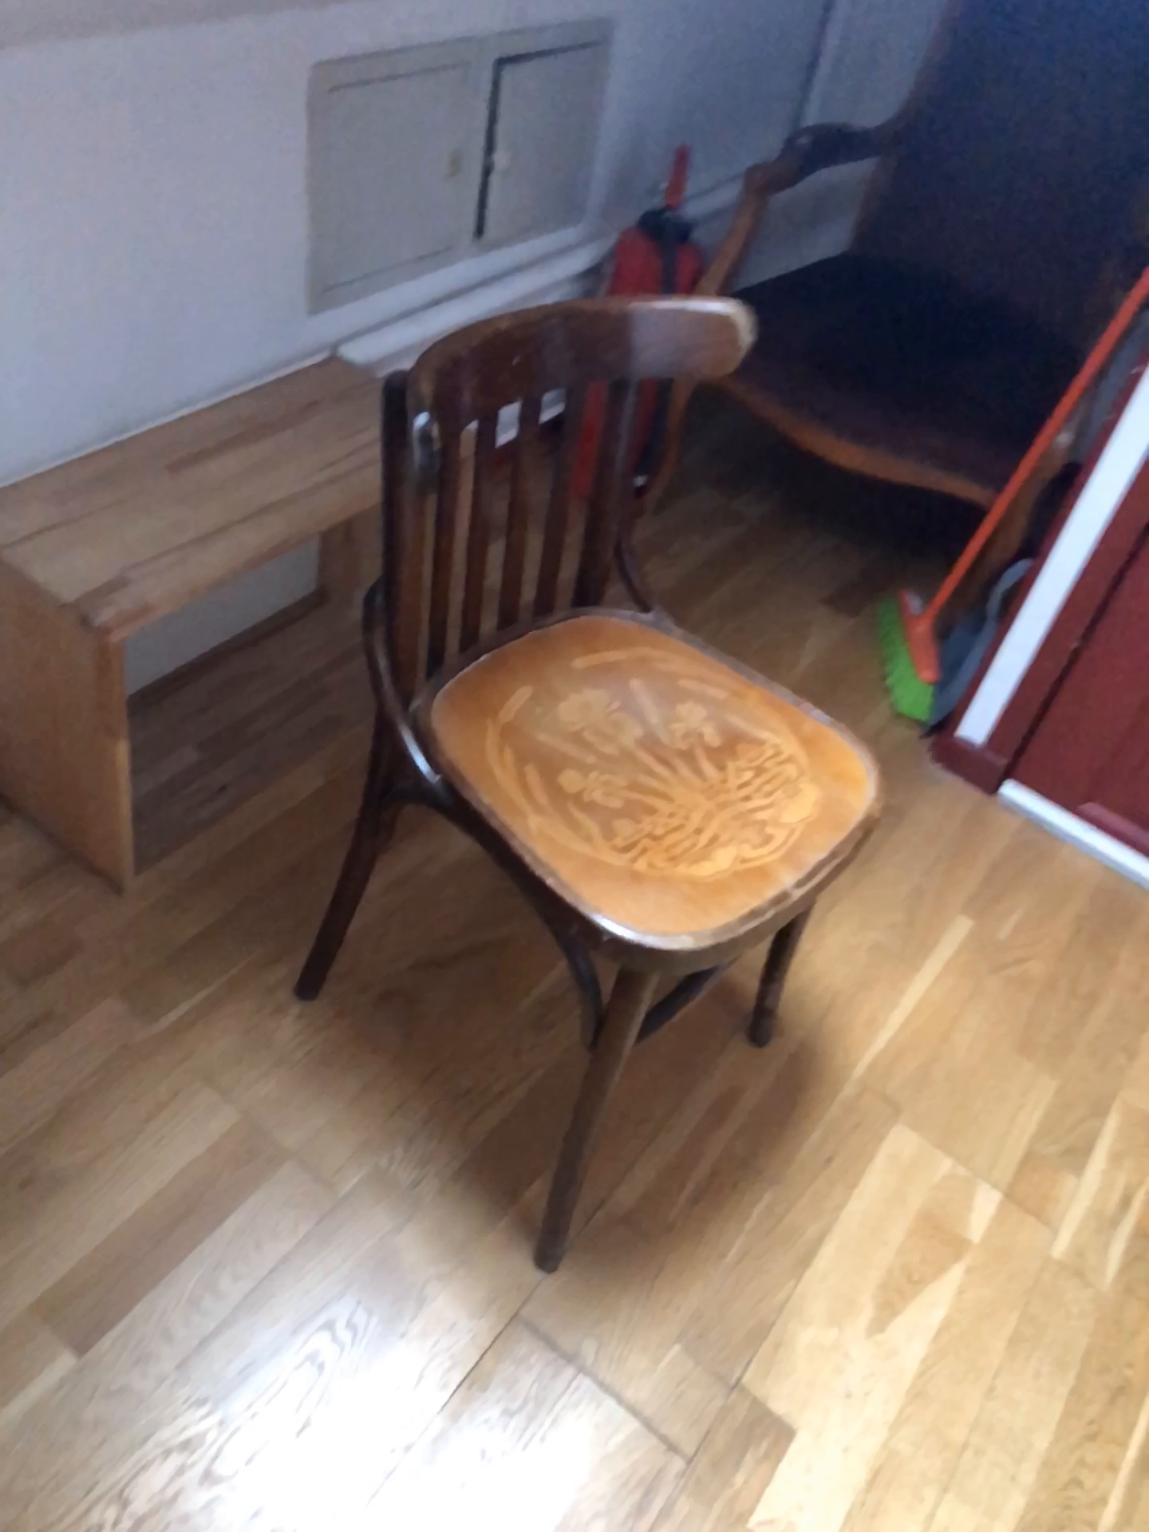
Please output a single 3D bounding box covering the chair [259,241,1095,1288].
[{"bbox_3d":[0.034,0.008,1.136,0.412,0.737,0.445,36,46,22],"label":"chair"}]
